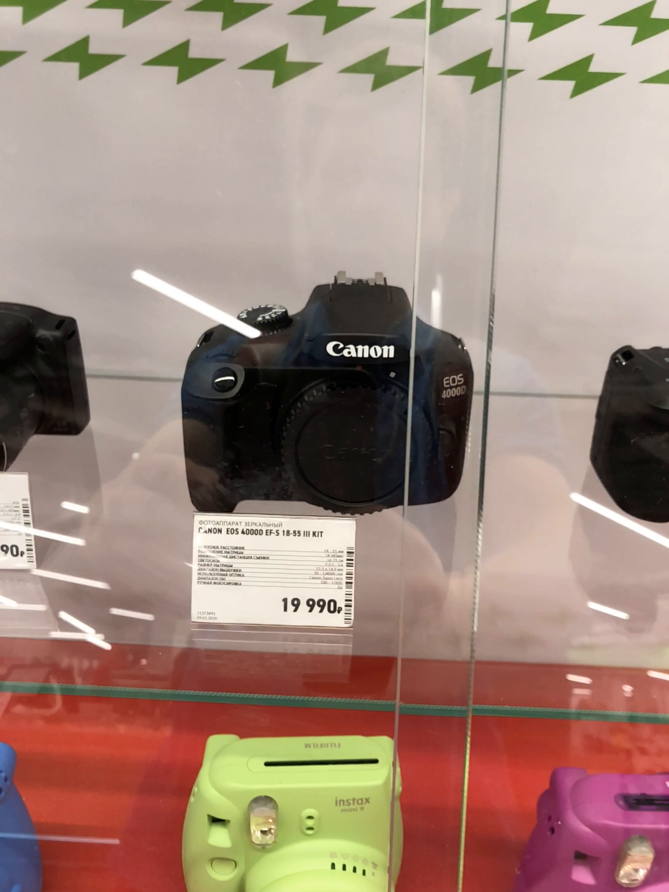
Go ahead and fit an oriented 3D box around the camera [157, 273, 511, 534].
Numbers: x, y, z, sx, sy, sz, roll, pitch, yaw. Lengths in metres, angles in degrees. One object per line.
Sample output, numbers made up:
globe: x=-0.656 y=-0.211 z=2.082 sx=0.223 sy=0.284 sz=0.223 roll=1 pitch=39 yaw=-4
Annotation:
camera: x=-0.002 y=-0.024 z=0.348 sx=0.135 sy=0.083 sz=0.100 roll=1 pitch=29 yaw=-1
